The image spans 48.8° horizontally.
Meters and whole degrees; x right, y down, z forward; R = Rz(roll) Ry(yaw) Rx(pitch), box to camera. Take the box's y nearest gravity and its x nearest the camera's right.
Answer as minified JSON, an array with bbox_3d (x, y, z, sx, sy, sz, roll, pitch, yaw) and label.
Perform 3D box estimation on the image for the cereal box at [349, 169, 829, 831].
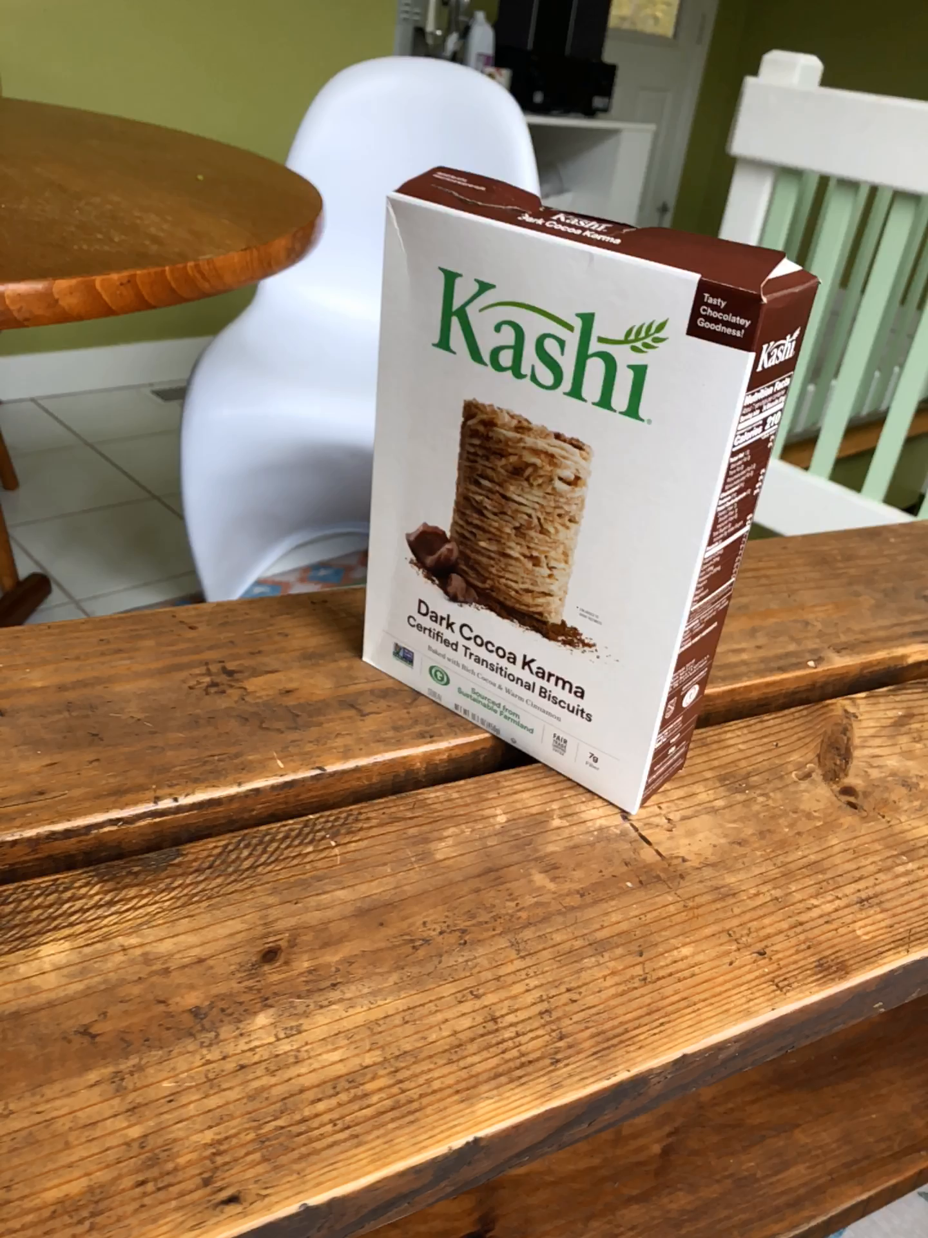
[{"bbox_3d":[0.040,-0.058,0.522,0.200,0.278,0.060,27,38,28],"label":"cereal box"}]
